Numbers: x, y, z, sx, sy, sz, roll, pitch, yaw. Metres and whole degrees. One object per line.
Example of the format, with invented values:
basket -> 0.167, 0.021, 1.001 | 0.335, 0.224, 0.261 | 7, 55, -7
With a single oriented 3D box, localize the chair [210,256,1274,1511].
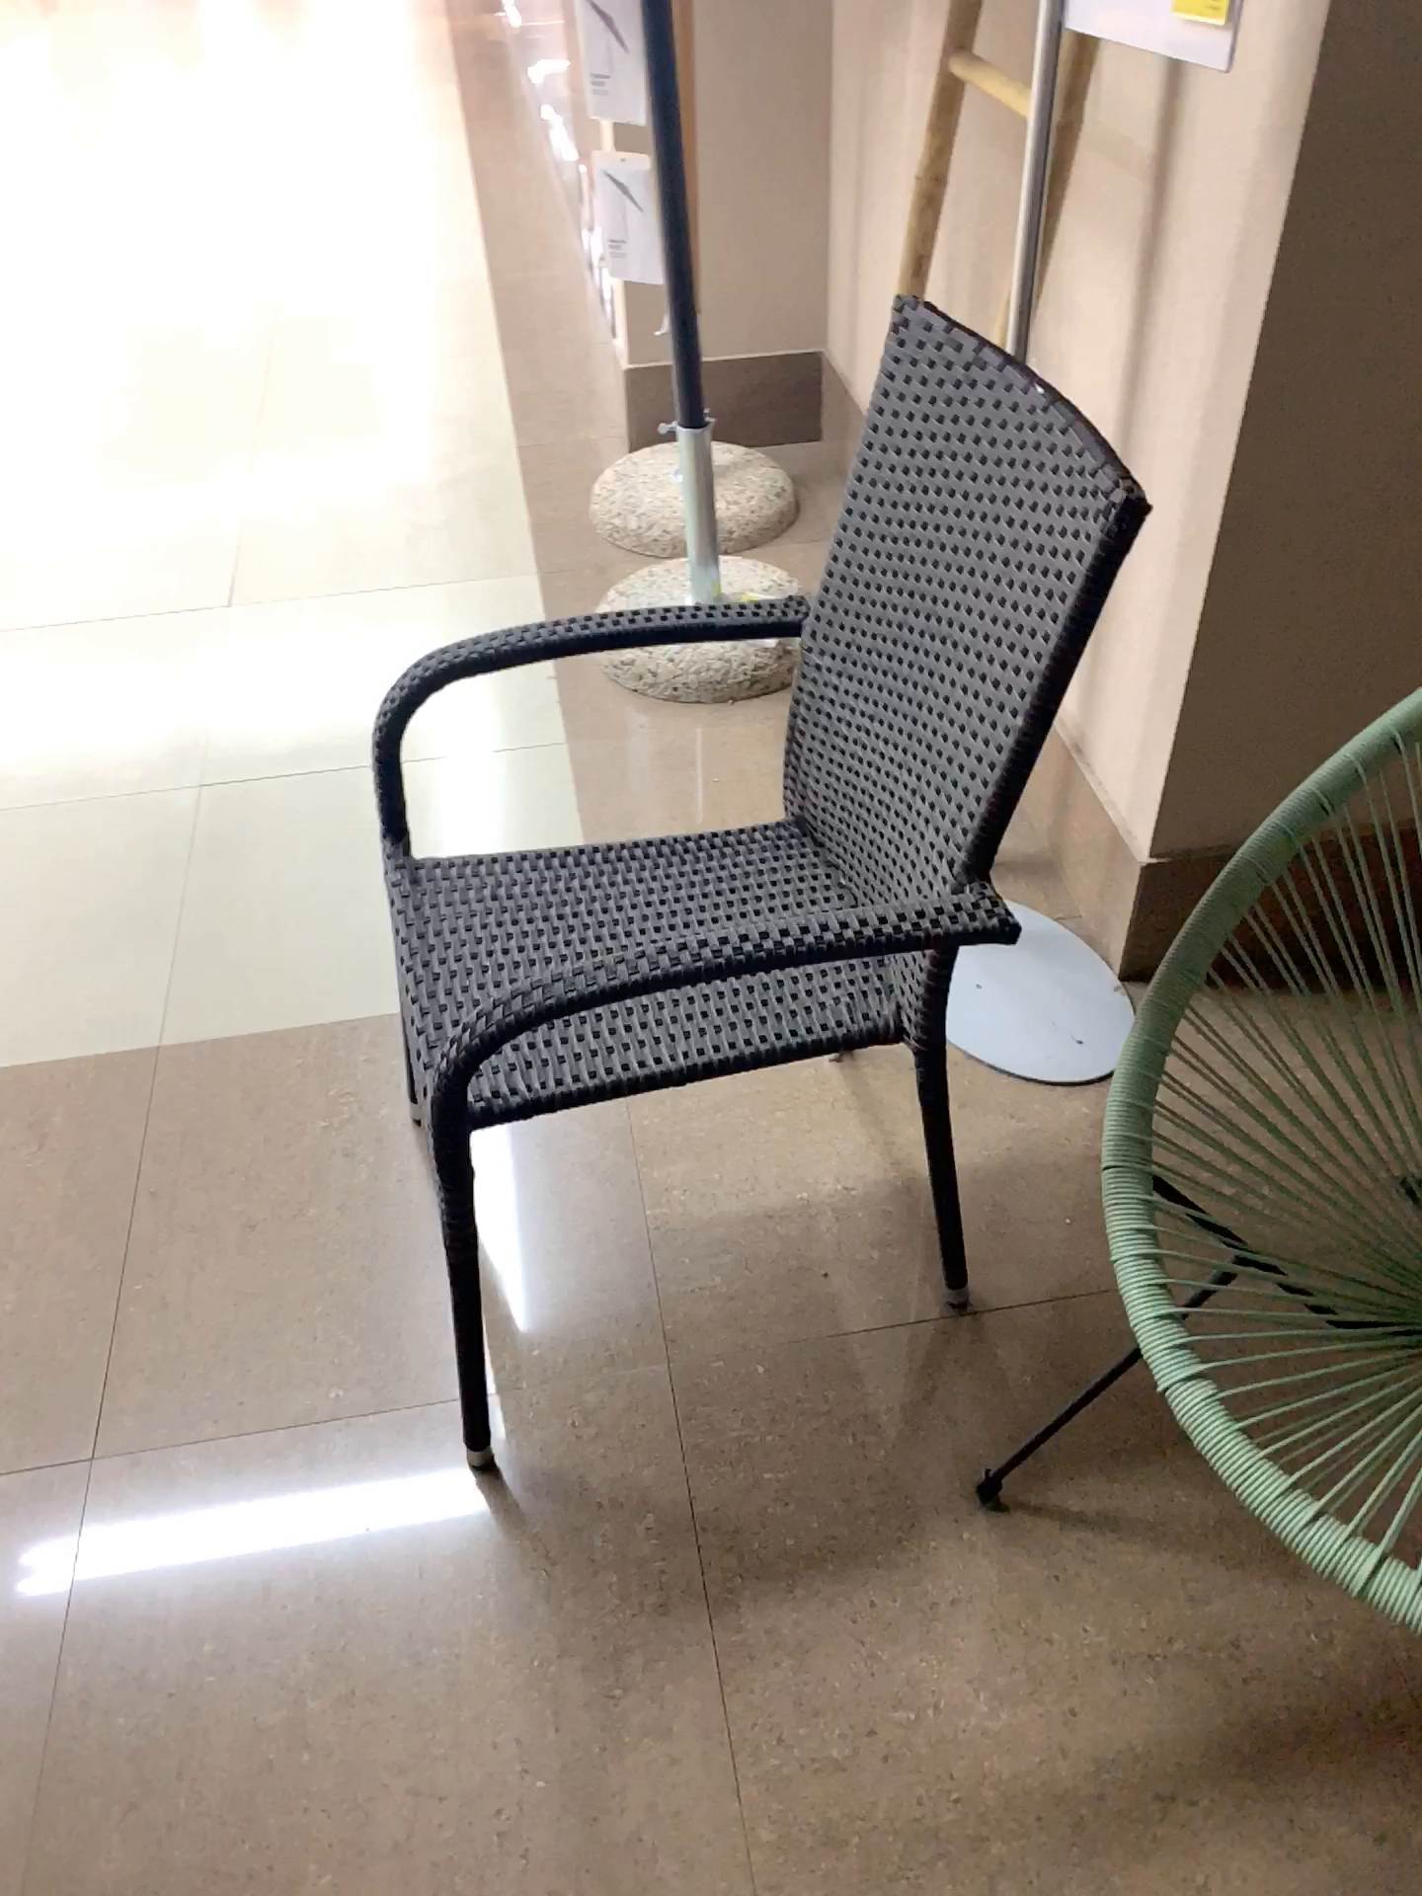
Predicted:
chair -> -0.023, -0.051, 1.436 | 0.680, 0.955, 0.623 | -11, 42, -10
